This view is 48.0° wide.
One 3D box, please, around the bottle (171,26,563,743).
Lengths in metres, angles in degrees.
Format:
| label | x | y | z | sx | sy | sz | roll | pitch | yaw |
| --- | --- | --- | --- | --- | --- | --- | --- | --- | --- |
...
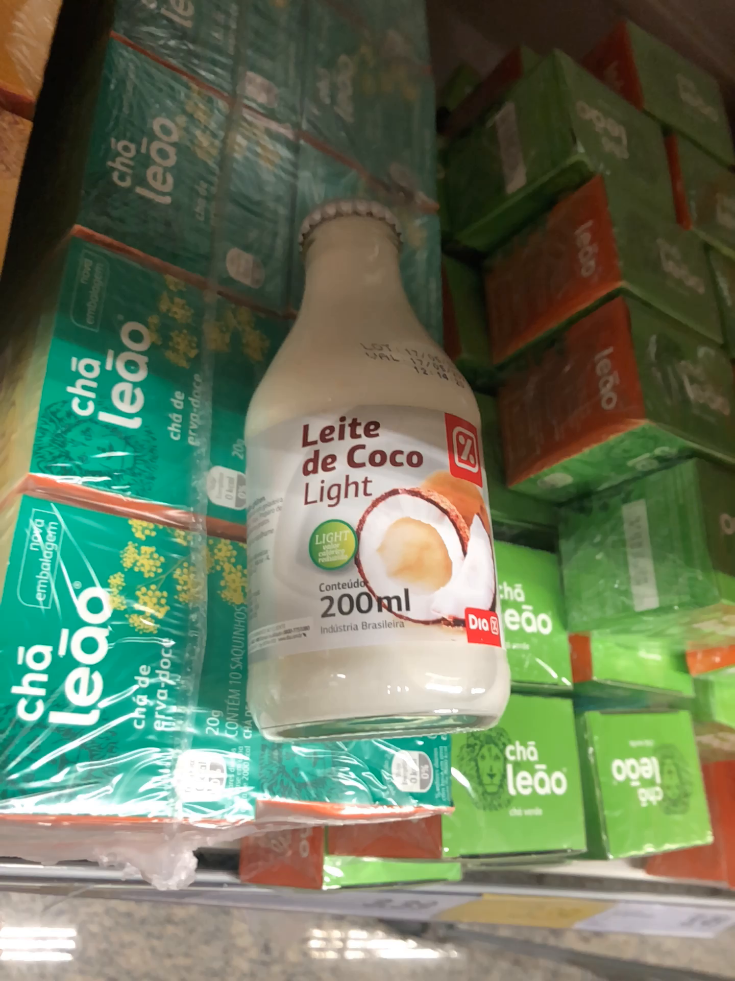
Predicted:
| label | x | y | z | sx | sy | sz | roll | pitch | yaw |
| --- | --- | --- | --- | --- | --- | --- | --- | --- | --- |
| bottle | -0.006 | -0.023 | 0.210 | 0.070 | 0.050 | 0.160 | 8 | 67 | -35 |
